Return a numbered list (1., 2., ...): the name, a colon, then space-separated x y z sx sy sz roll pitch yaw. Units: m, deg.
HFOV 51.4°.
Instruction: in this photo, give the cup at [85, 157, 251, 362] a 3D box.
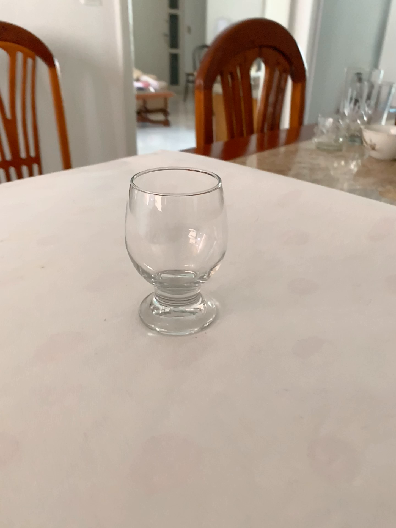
1. cup: -0.022 -0.009 0.307 0.080 0.112 0.080 1 28 0
